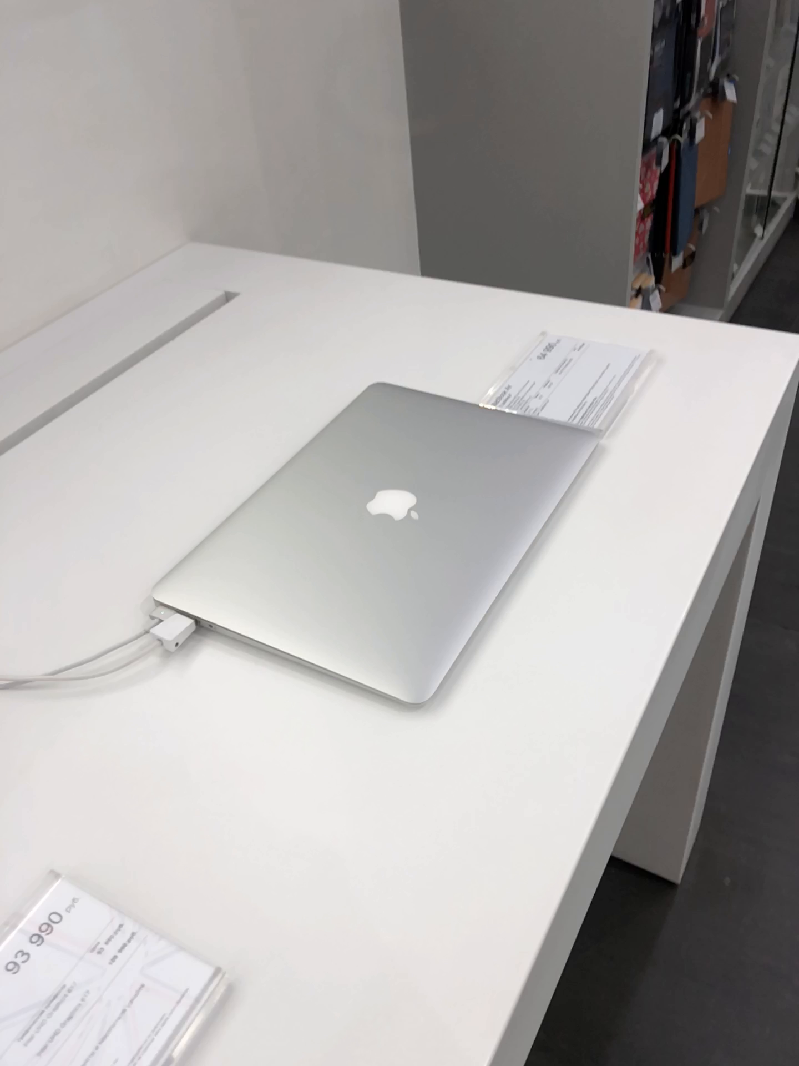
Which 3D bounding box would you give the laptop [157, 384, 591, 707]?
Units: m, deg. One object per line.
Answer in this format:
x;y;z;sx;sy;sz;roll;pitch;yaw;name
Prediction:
-0.005;-0.016;0.681;0.209;0.008;0.308;18;45;24;laptop
